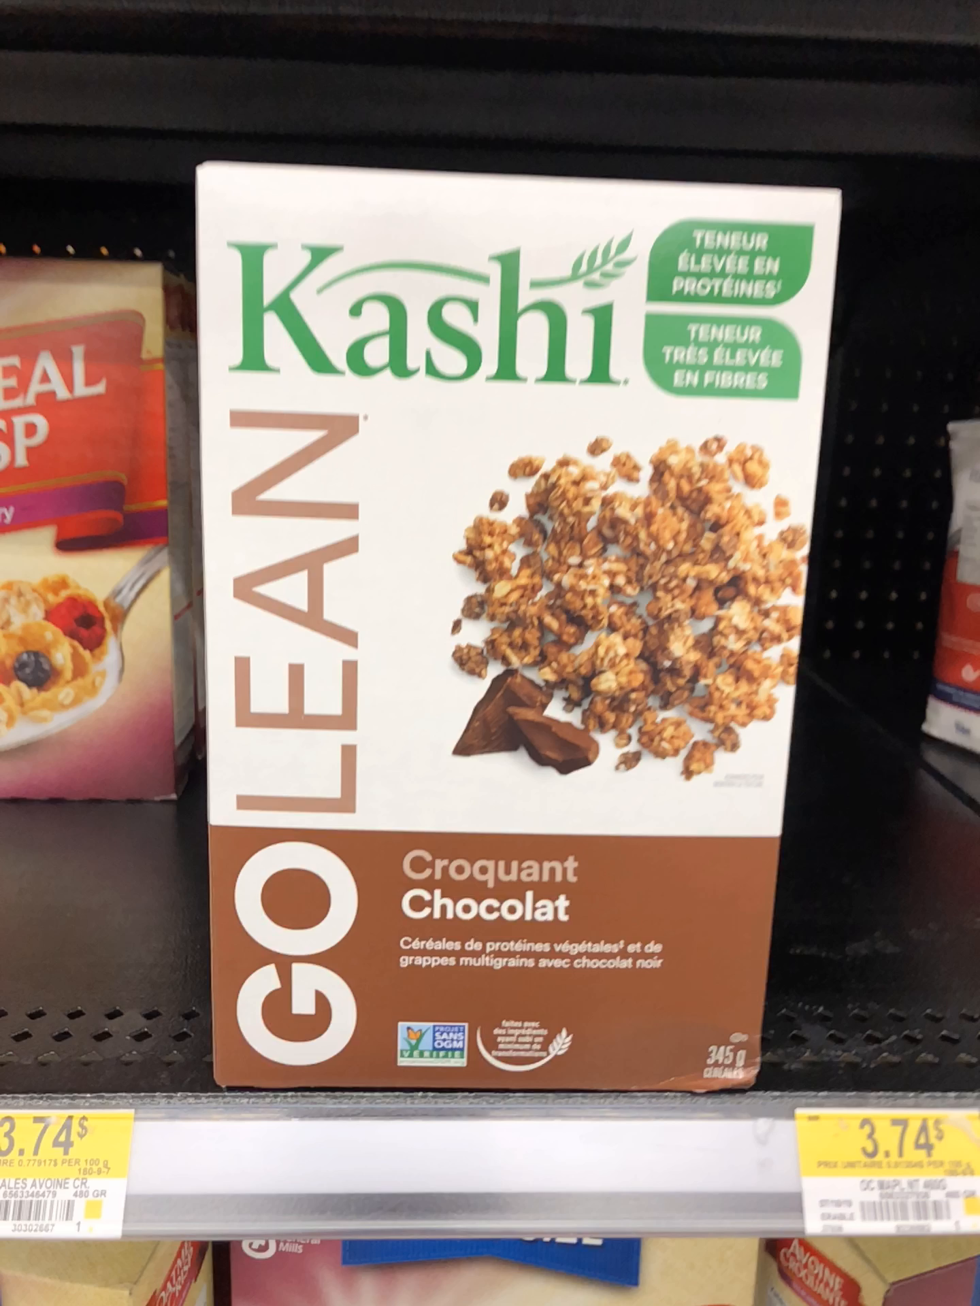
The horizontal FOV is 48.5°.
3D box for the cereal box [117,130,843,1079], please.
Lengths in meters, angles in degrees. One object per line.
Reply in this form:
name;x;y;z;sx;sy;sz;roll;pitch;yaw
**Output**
cereal box;-0.006;-0.004;0.308;0.170;0.249;0.050;1;14;-3
